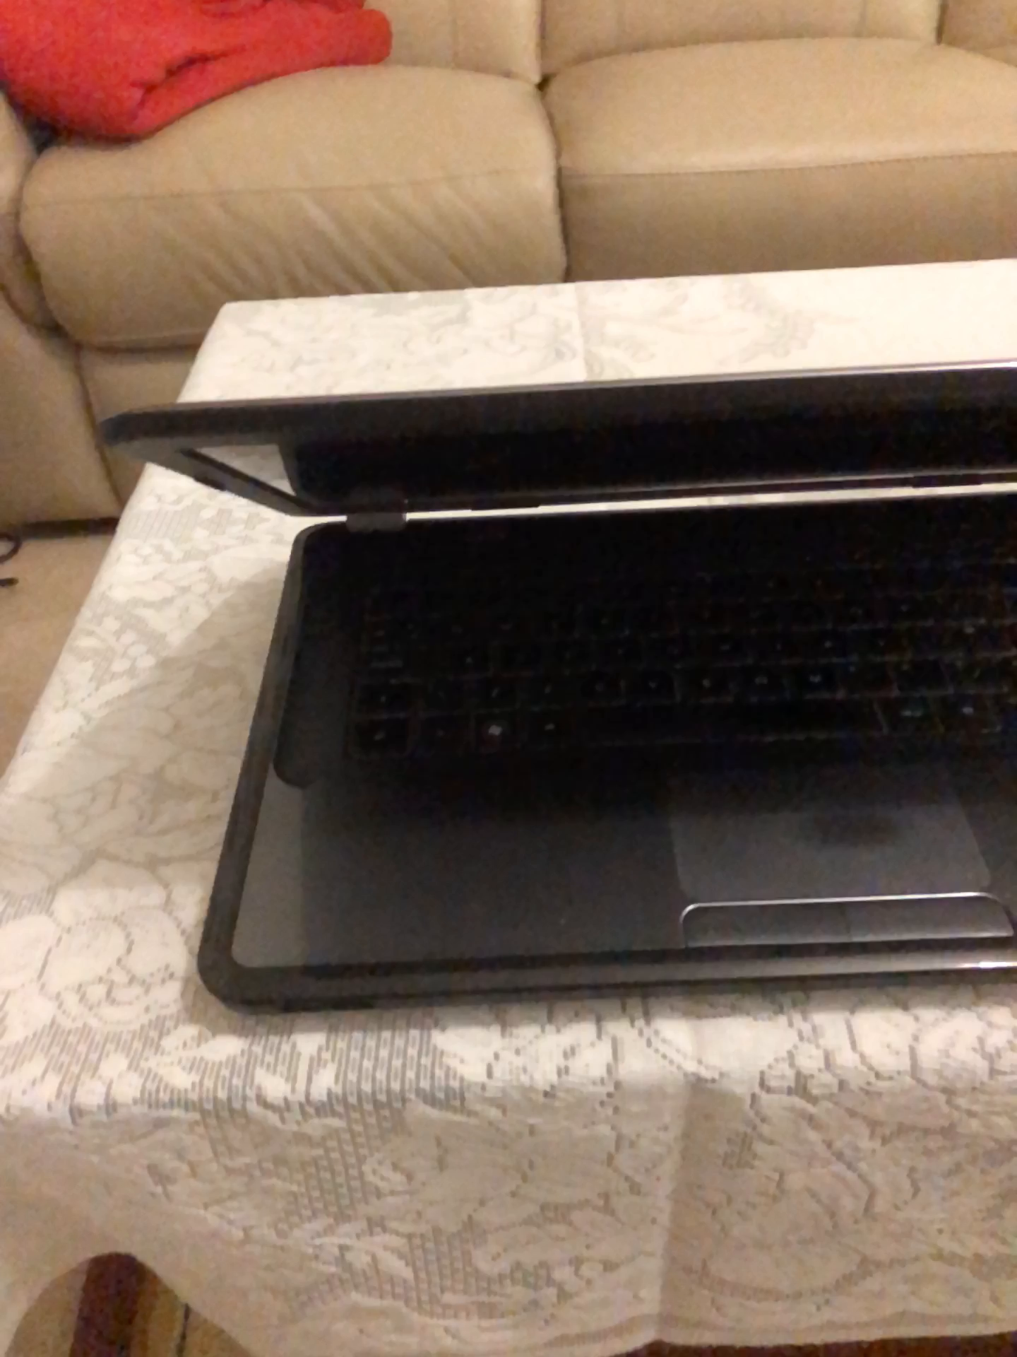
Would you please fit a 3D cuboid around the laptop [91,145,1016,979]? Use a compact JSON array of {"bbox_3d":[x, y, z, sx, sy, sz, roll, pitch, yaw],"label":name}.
[{"bbox_3d":[0.091,-0.054,0.364,0.360,0.139,0.239,-3,40,1],"label":"laptop"}]
